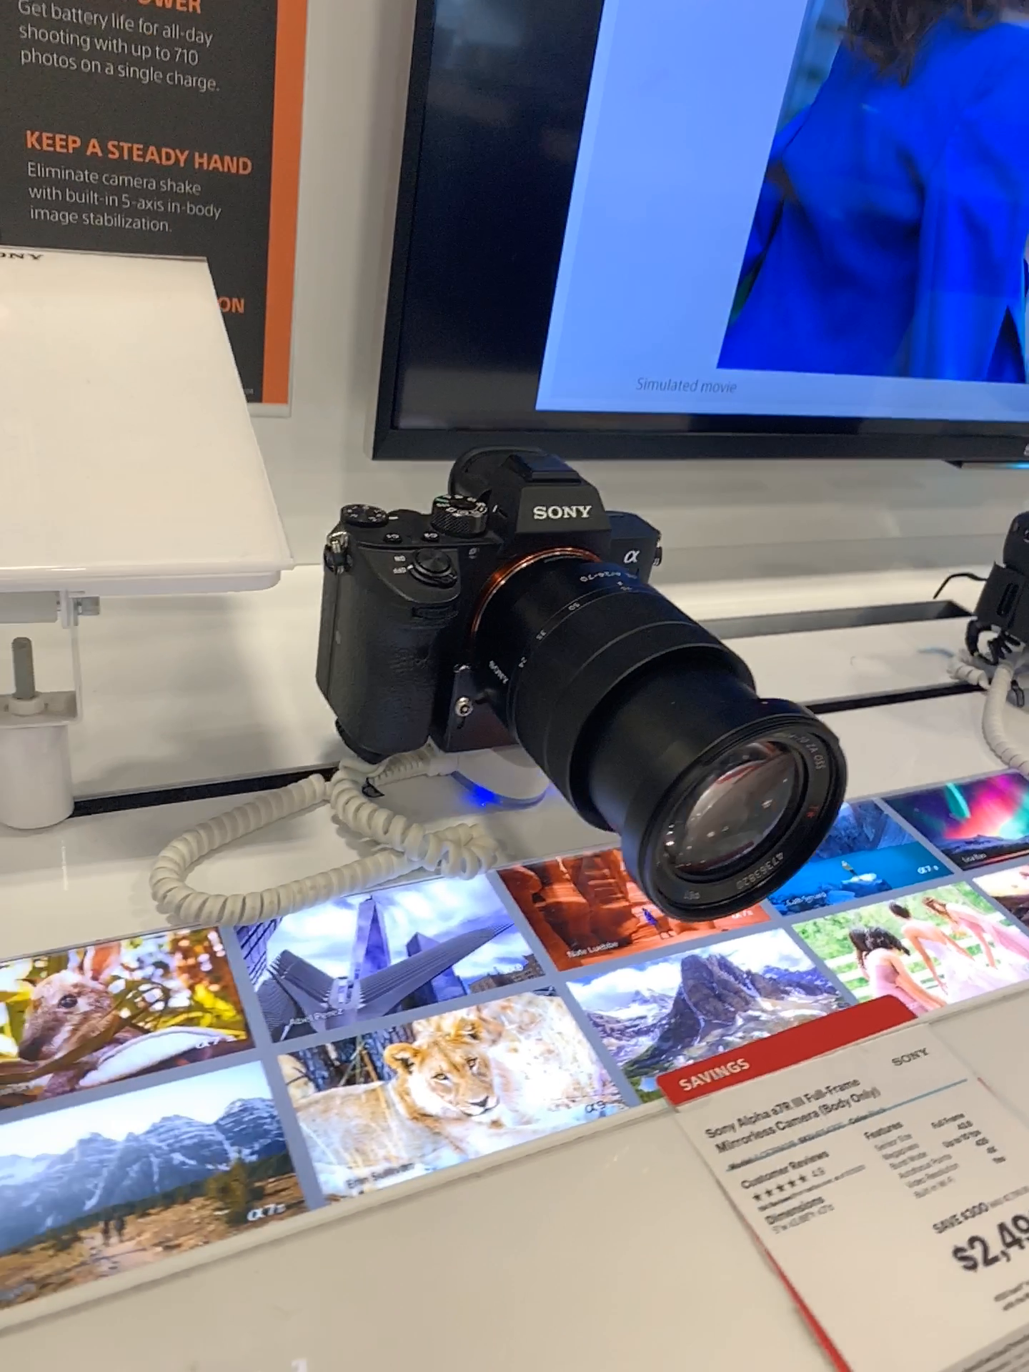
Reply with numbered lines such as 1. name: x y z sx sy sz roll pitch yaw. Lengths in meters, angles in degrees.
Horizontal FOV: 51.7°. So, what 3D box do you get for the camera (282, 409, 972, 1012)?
1. camera: 0.017 -0.014 0.358 0.130 0.099 0.194 -9 34 -29
